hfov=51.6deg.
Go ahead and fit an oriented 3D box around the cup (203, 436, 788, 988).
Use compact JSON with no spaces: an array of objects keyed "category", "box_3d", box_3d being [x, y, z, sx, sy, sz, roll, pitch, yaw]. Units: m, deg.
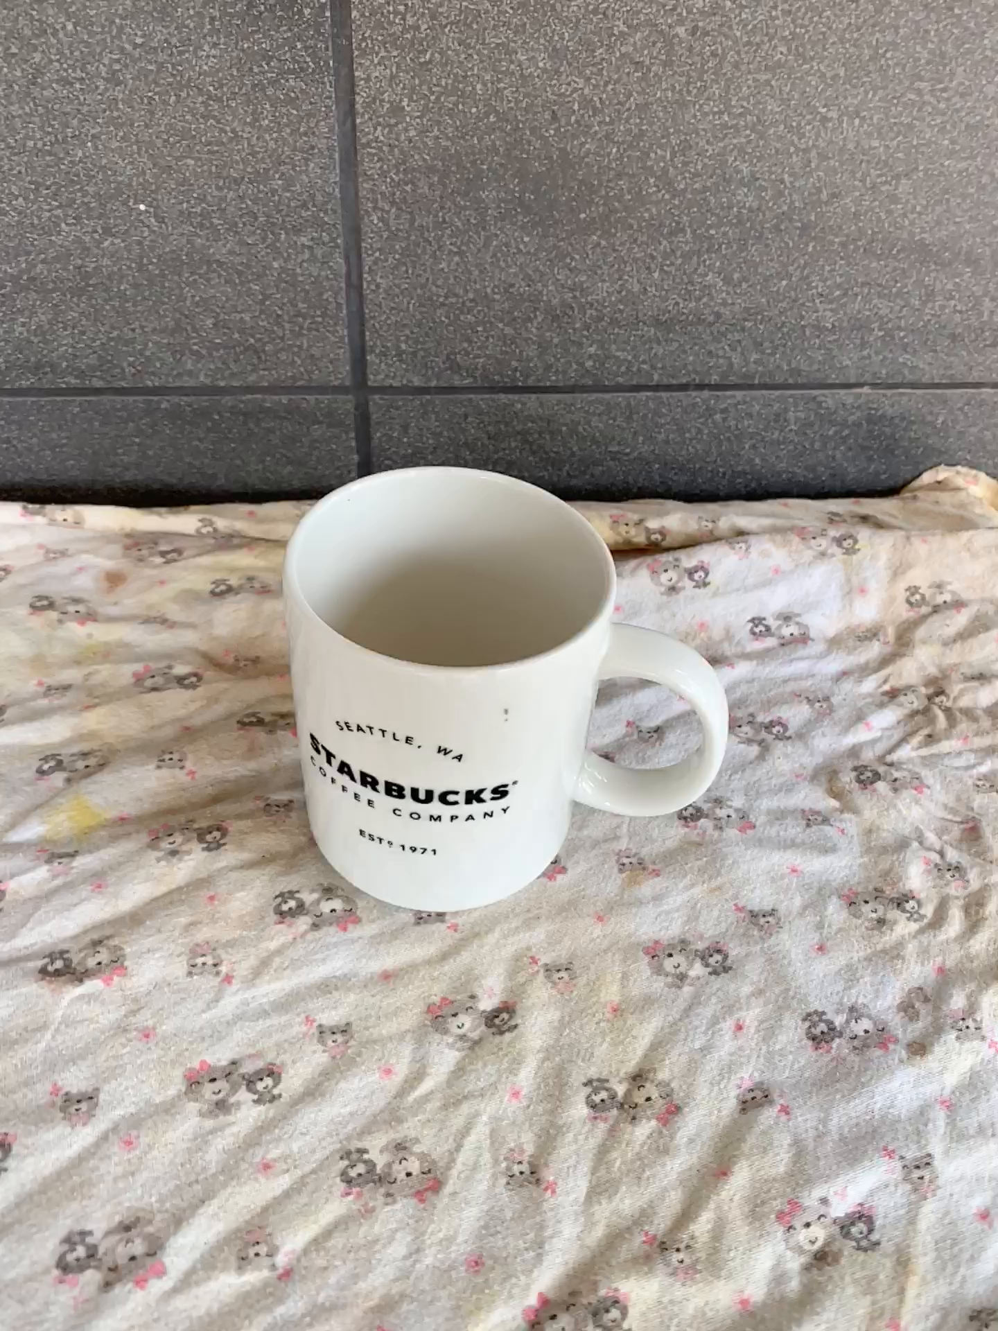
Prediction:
[{"category":"cup","box_3d":[0.002,0.014,0.296,0.130,0.110,0.090,8,44,5]}]
